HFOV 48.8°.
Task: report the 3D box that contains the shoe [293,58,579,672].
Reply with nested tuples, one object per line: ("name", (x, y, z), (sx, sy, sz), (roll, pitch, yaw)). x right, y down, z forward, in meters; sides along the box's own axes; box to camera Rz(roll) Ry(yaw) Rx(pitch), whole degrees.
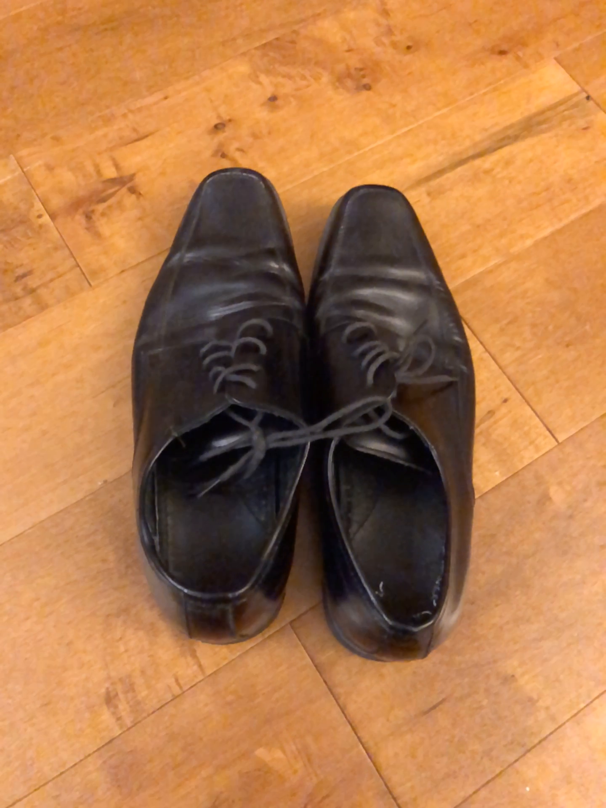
("shoe", (0.053, -0.021, 0.375), (0.110, 0.130, 0.311), (1, 70, -1))

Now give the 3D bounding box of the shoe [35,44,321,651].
("shoe", (-0.049, -0.028, 0.375), (0.110, 0.130, 0.311), (1, 70, -1))
